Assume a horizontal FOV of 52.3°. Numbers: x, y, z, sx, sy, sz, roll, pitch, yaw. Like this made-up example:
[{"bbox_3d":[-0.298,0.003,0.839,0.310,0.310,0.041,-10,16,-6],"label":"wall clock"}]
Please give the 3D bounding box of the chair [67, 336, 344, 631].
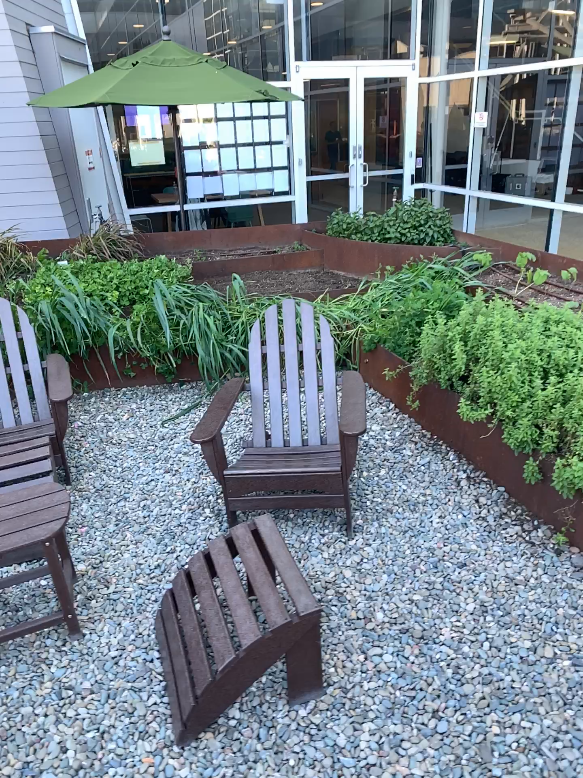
[{"bbox_3d":[-0.333,0.394,3.081,1.001,0.995,1.004,6,25,17],"label":"chair"}]
